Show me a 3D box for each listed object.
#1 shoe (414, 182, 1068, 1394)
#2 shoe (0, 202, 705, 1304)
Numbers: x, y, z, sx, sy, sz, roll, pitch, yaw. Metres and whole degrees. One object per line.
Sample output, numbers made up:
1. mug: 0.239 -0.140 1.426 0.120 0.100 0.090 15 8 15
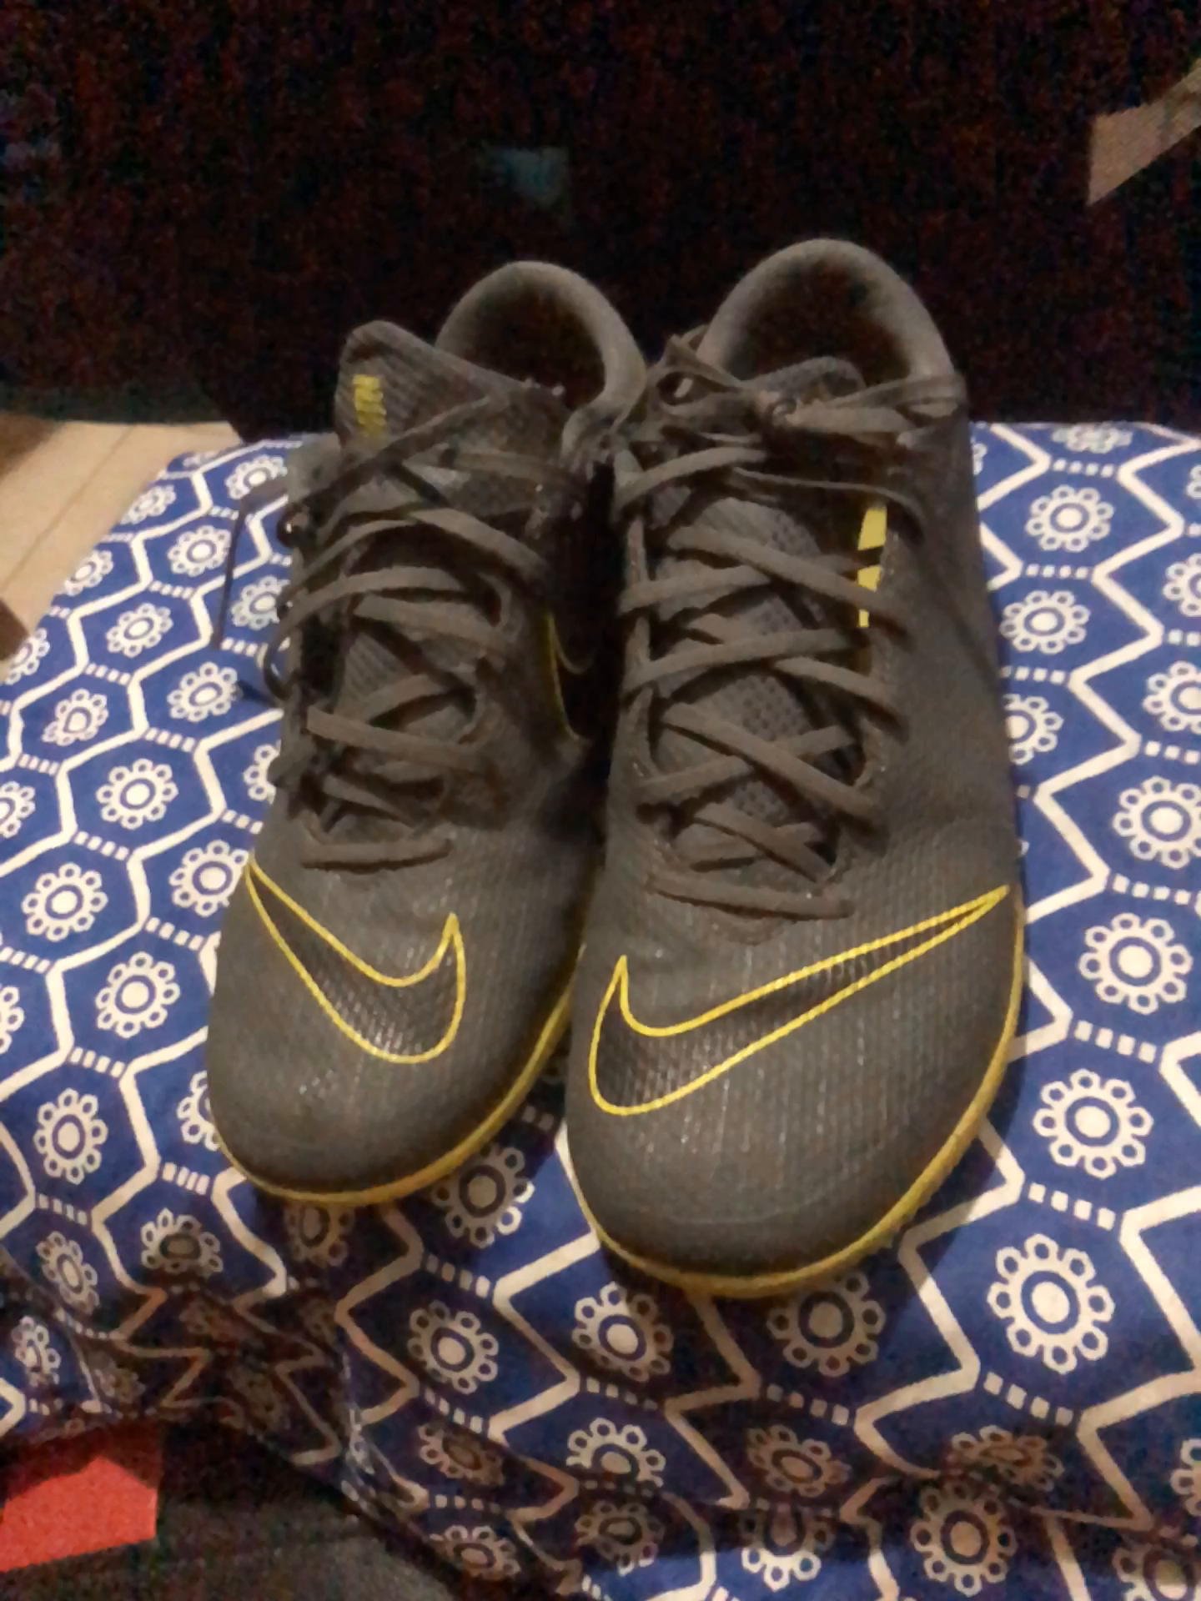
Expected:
1. shoe: 0.049 -0.017 0.289 0.090 0.090 0.241 2 57 18
2. shoe: -0.046 -0.024 0.315 0.090 0.090 0.241 2 57 18
